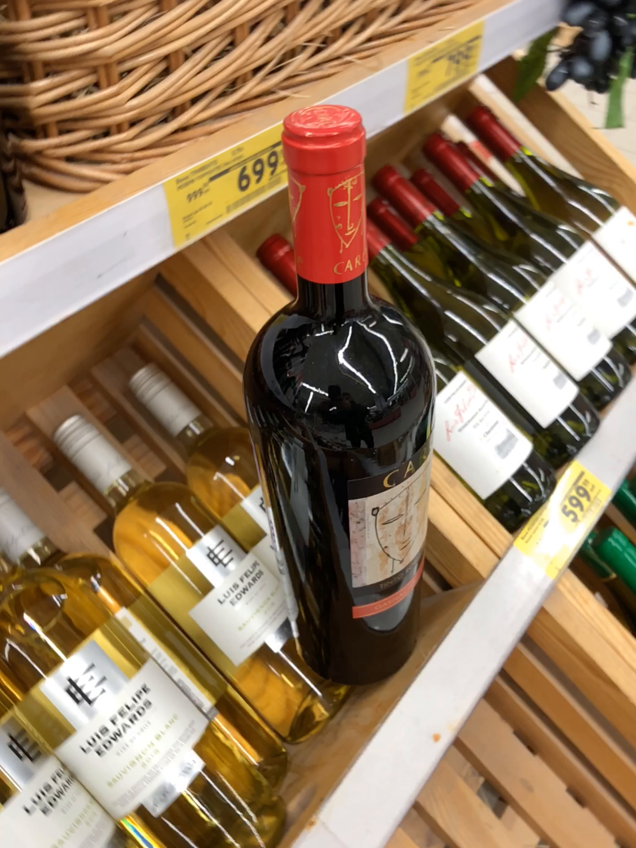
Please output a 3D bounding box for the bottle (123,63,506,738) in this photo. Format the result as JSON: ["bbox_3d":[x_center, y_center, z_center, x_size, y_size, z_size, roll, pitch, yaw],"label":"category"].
[{"bbox_3d":[0.010,0.020,0.381,0.100,0.358,0.100,-3,42,3],"label":"bottle"}]
